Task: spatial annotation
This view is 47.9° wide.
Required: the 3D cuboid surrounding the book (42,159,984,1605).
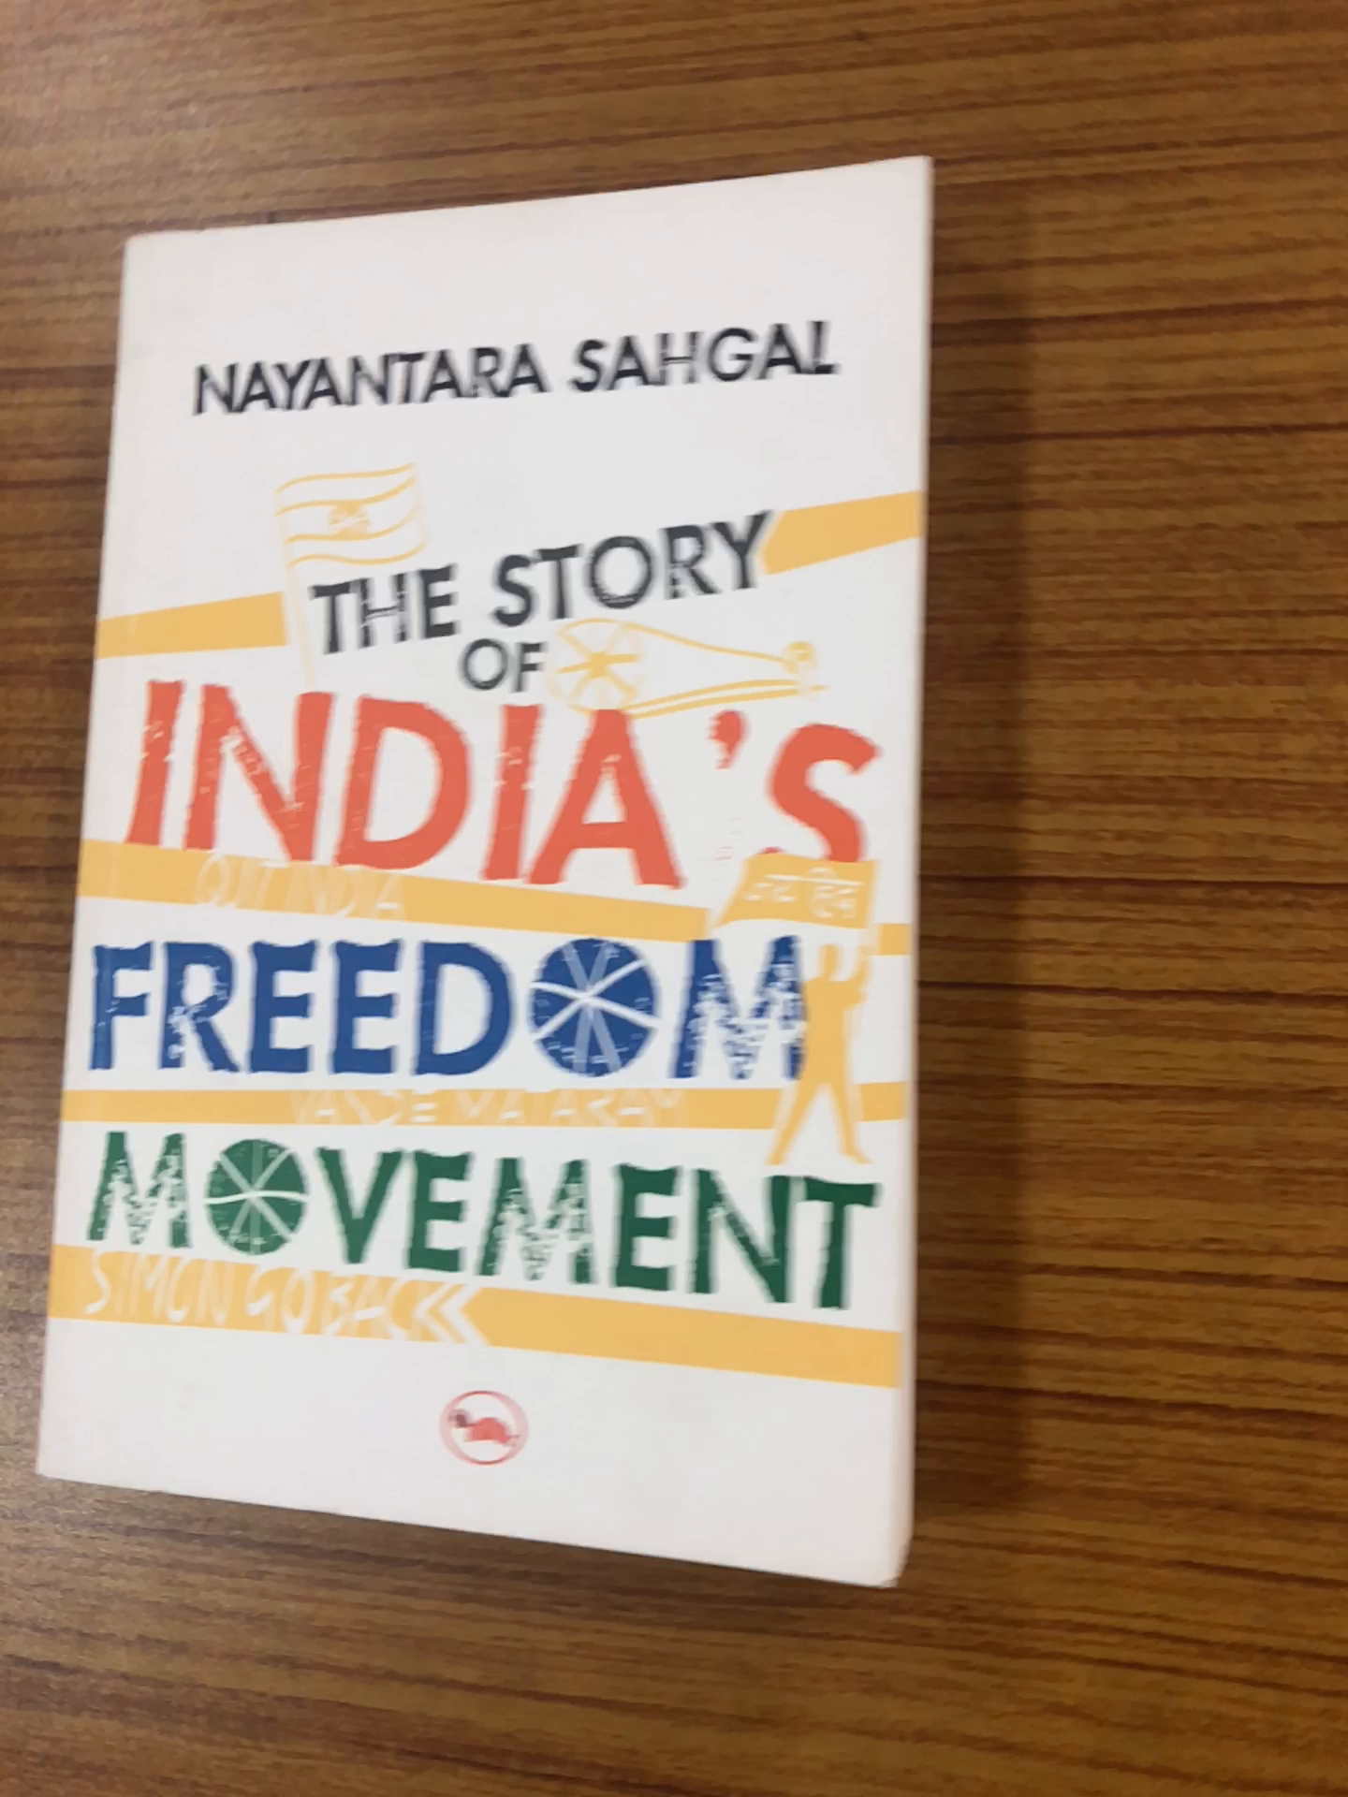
[{"bbox_3d":[-0.022,-0.006,0.228,0.130,0.030,0.190,1,84,14],"label":"book"}]
